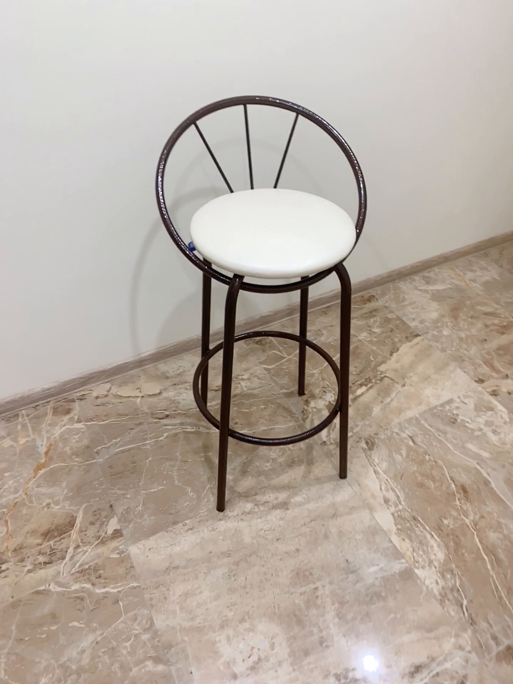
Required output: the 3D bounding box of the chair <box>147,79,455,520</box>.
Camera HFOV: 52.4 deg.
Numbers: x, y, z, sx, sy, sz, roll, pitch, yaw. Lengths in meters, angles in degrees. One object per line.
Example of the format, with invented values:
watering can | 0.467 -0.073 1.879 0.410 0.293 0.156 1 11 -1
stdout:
chair | 0.041 -0.056 1.146 0.400 0.835 0.402 -11 43 -13
